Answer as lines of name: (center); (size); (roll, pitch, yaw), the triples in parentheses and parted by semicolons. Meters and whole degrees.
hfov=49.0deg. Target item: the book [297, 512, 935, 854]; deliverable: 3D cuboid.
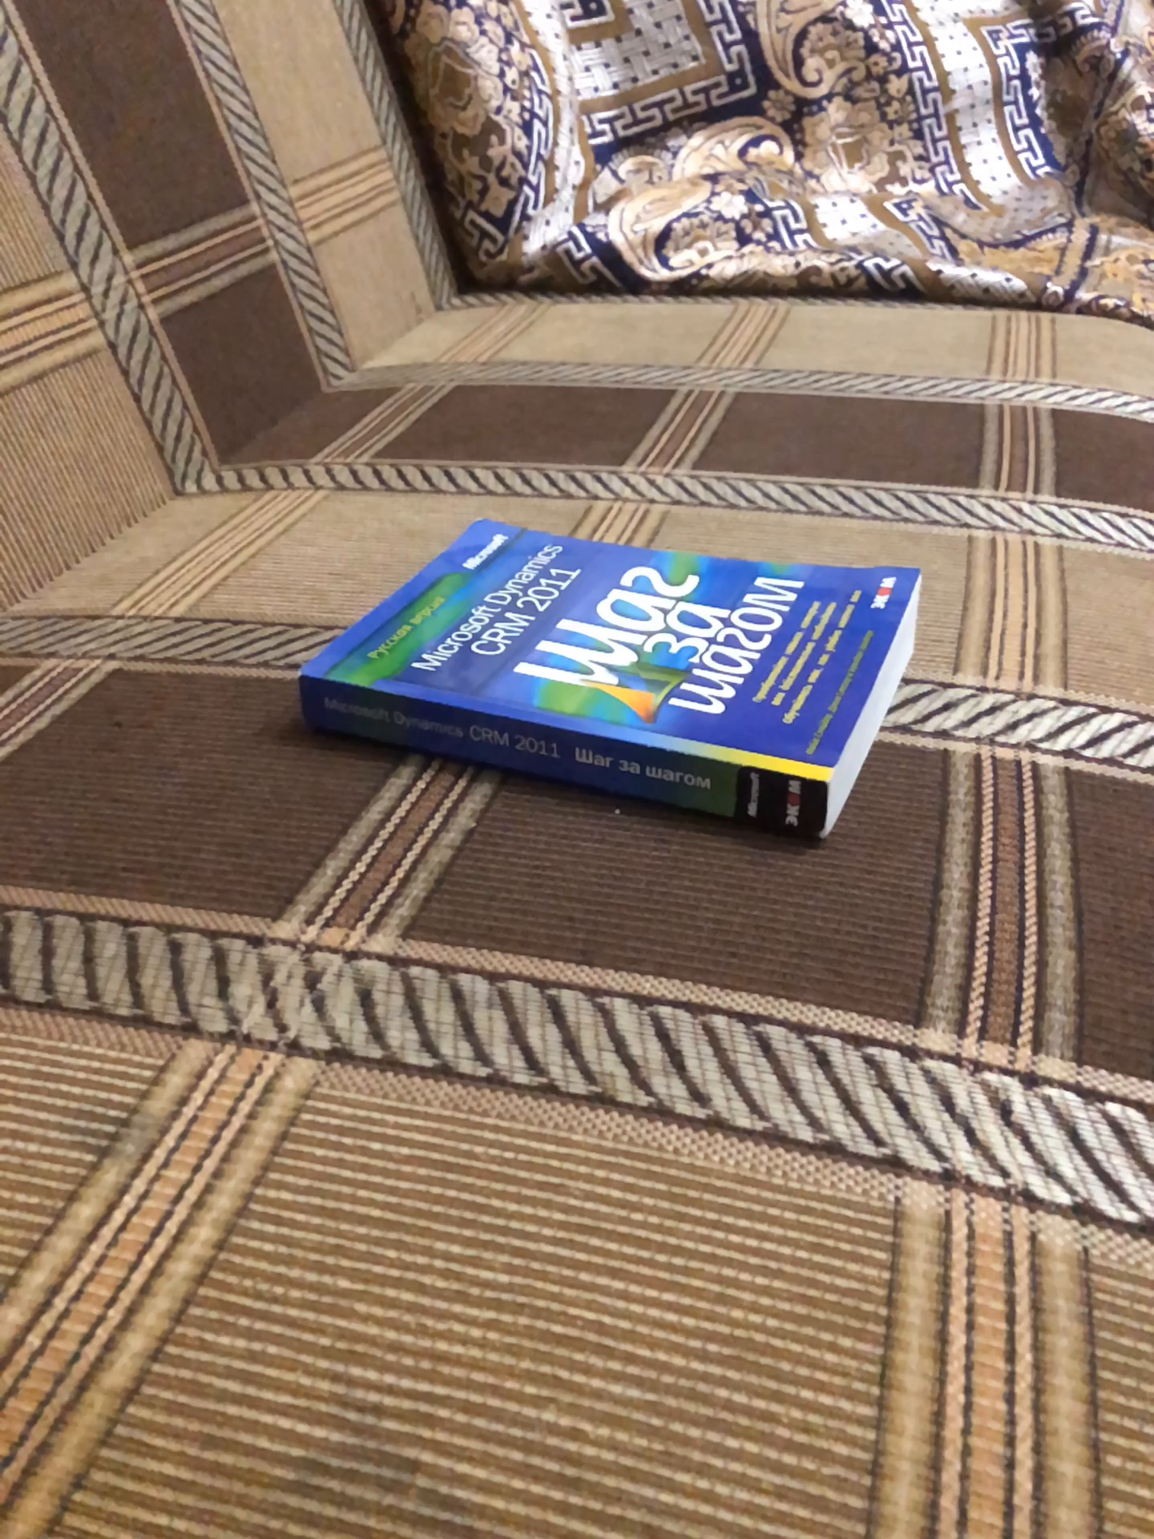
book: (0.021, -0.045, 0.487); (0.200, 0.033, 0.151); (11, 35, 20)
